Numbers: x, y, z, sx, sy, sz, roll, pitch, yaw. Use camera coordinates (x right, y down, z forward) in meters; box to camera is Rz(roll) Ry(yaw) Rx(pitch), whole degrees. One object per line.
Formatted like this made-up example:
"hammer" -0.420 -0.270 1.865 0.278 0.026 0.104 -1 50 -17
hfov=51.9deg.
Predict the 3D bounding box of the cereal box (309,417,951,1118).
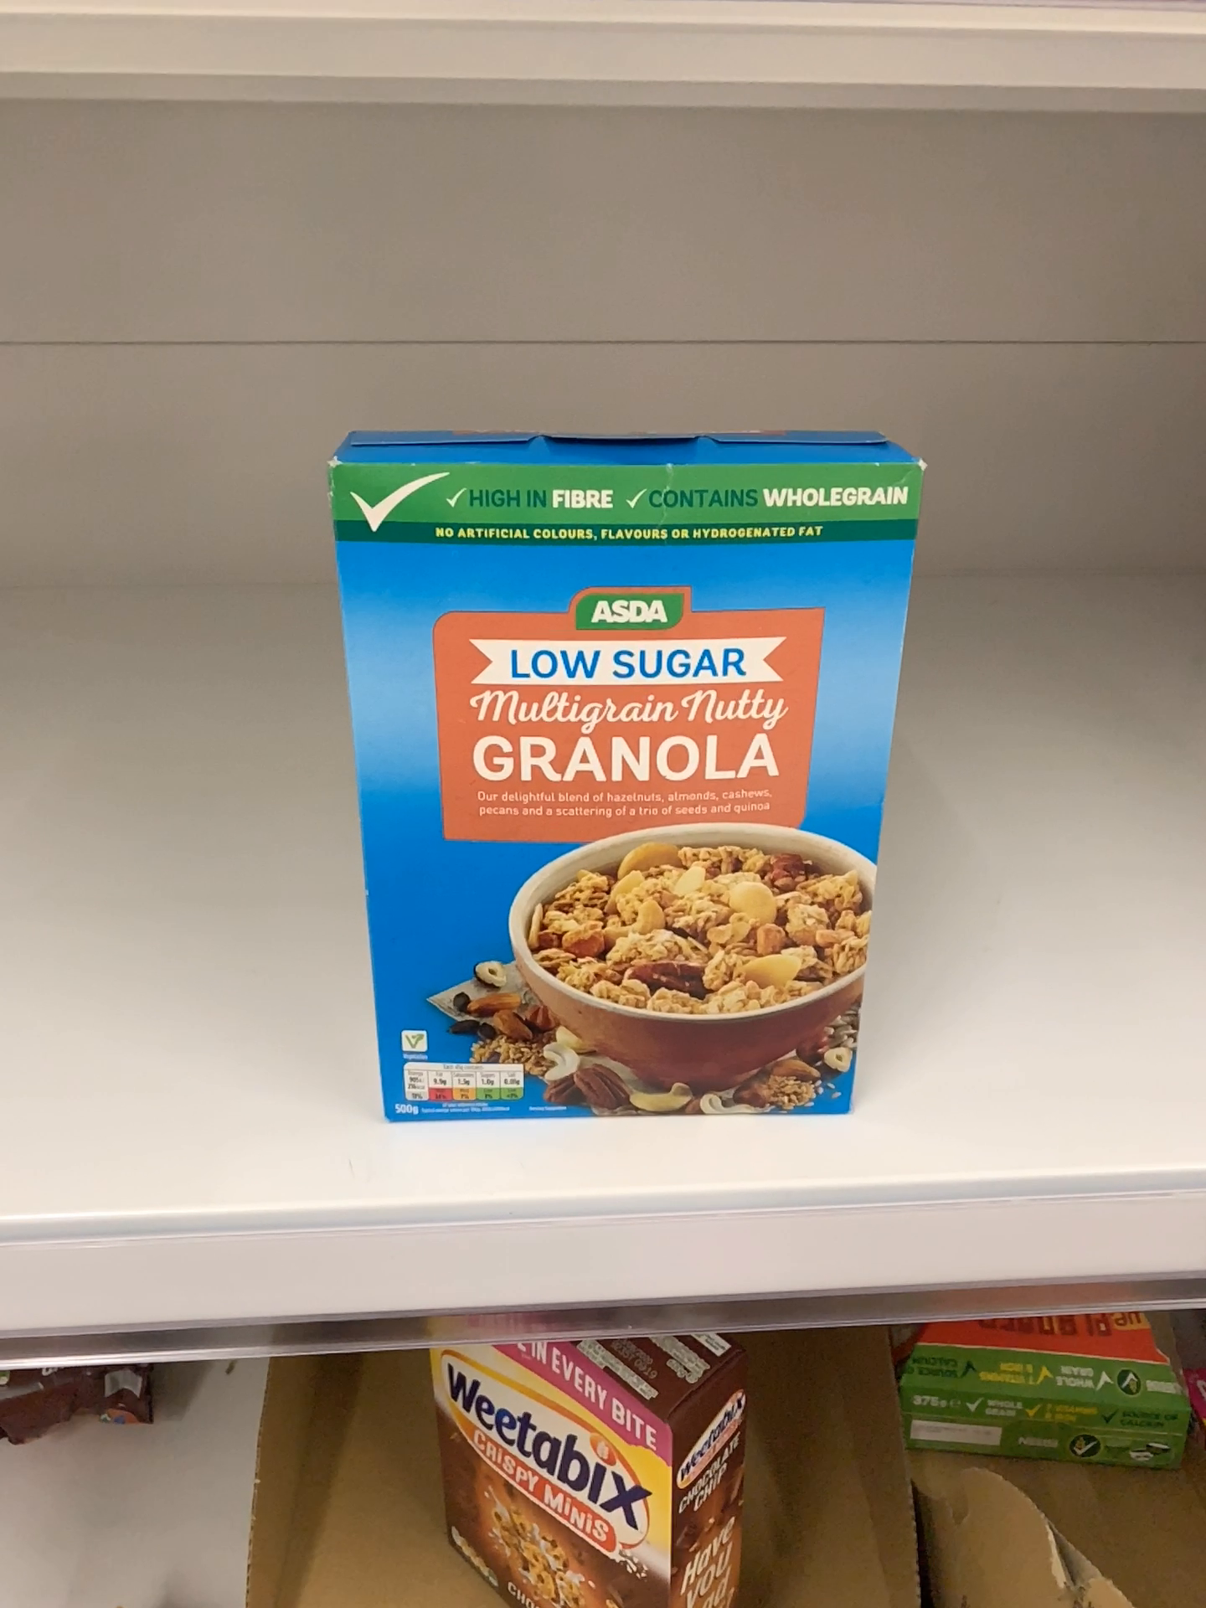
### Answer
"cereal box" 0.006 -0.006 0.448 0.190 0.248 0.061 0 26 -2
